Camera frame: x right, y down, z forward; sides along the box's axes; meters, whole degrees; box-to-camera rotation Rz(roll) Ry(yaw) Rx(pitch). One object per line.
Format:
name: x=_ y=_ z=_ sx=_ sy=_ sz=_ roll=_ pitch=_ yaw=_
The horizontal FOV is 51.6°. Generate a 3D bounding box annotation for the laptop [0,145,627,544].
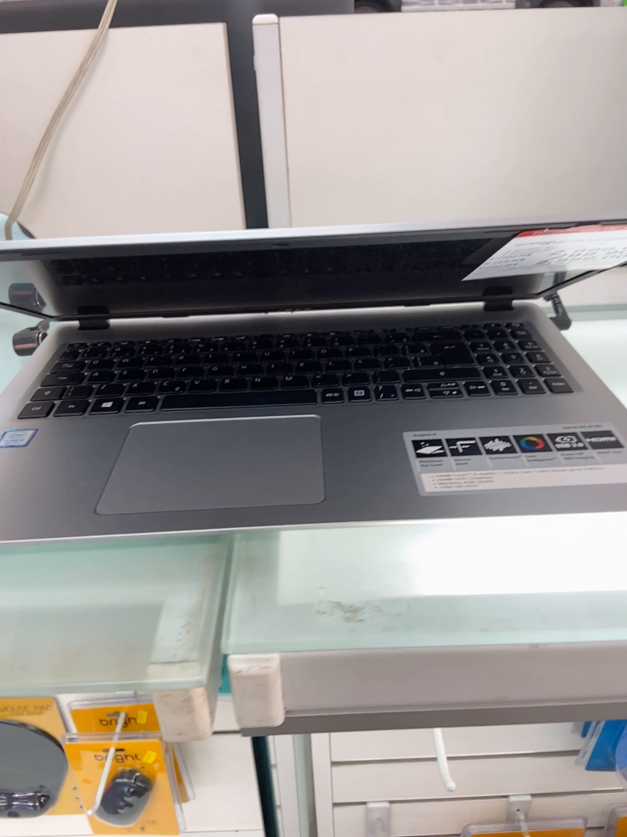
laptop: x=-0.014 y=-0.067 z=0.365 sx=0.364 sy=0.116 sz=0.247 roll=-3 pitch=30 yaw=-1
